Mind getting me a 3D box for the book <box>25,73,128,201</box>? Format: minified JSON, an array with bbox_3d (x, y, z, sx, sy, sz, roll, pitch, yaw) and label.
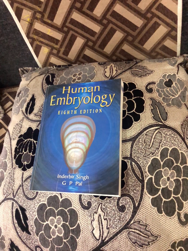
[{"bbox_3d":[-0.029,0.014,0.458,0.200,0.030,0.270,-1,68,14],"label":"book"}]
